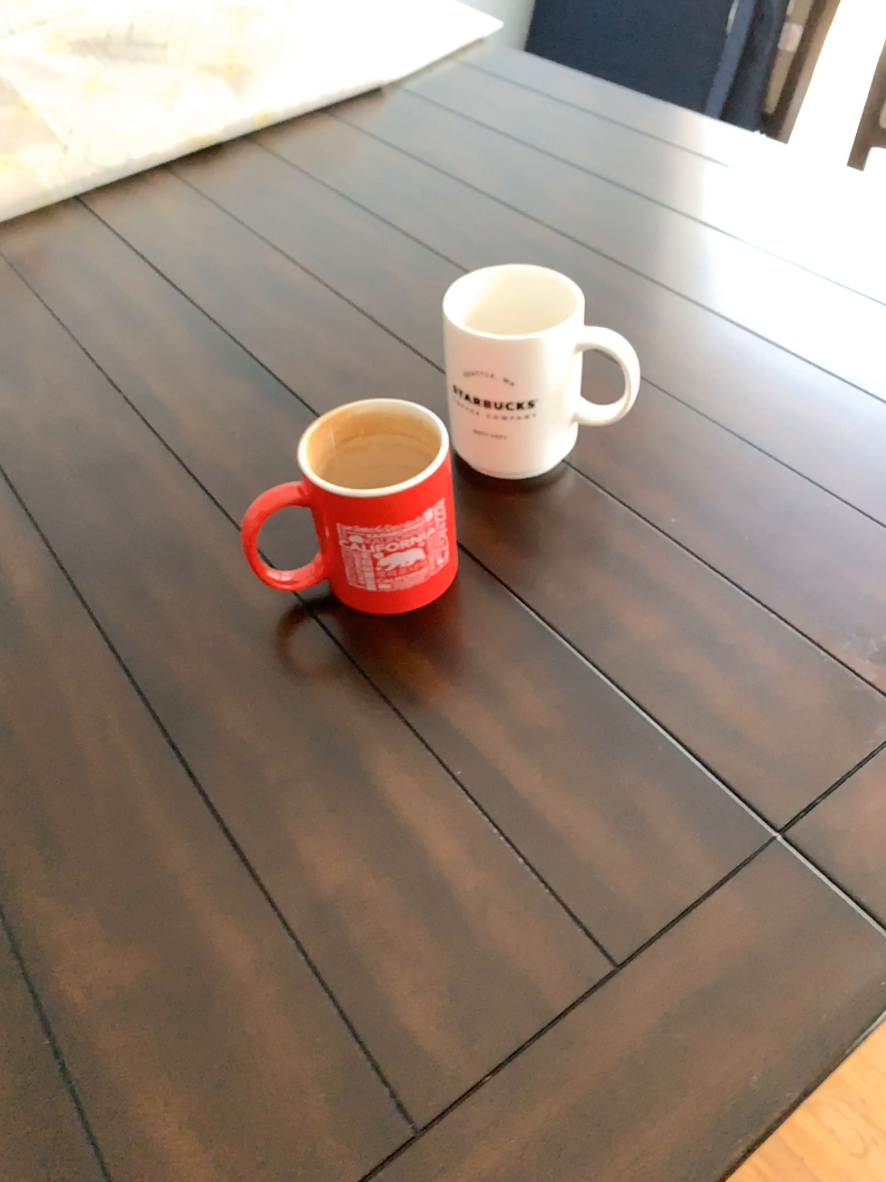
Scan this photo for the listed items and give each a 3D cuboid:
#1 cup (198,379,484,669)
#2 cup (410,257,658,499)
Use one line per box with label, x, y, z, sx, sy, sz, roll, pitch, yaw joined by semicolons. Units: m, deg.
cup;-0.055;-0.039;0.522;0.130;0.100;0.090;-17;48;-10
cup;0.059;-0.135;0.581;0.130;0.110;0.080;10;49;15
